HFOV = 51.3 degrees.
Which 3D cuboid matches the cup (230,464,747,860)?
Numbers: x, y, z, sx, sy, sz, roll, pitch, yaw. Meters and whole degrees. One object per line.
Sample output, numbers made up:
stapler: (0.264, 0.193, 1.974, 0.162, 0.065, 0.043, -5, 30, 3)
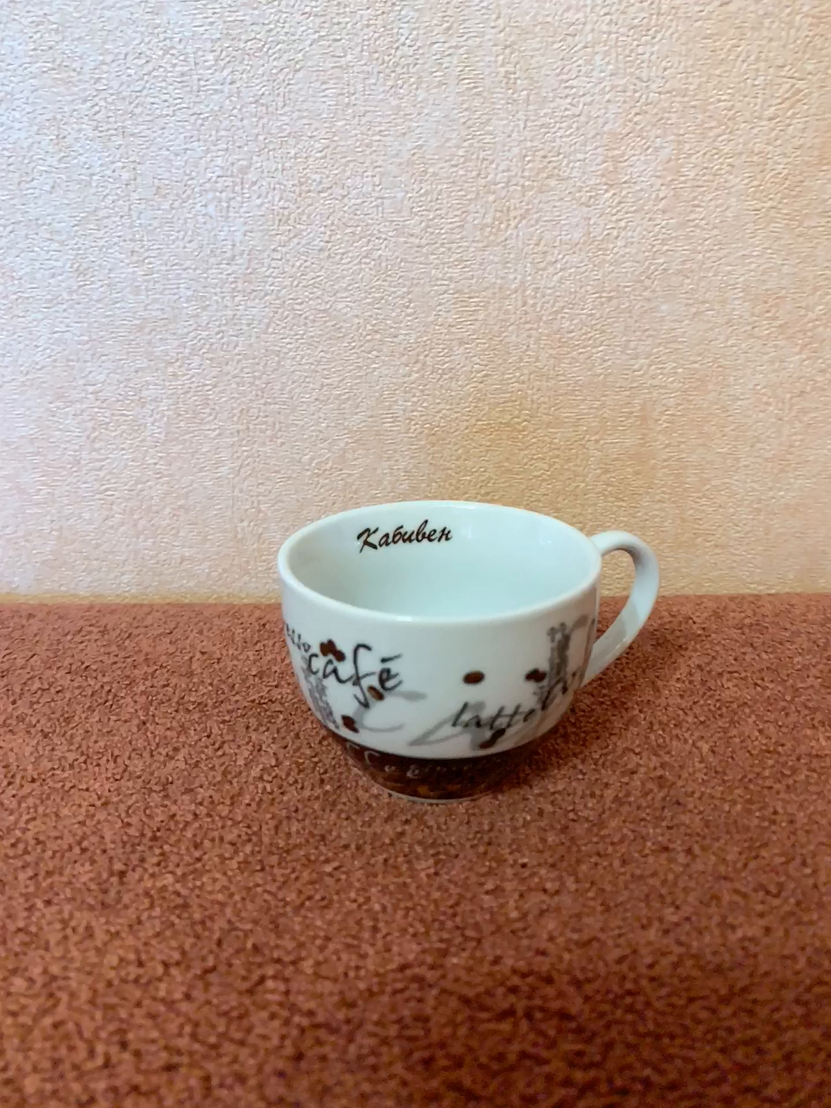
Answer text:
cup: (0.011, 0.015, 0.180, 0.083, 0.040, 0.065, -11, 24, -20)
